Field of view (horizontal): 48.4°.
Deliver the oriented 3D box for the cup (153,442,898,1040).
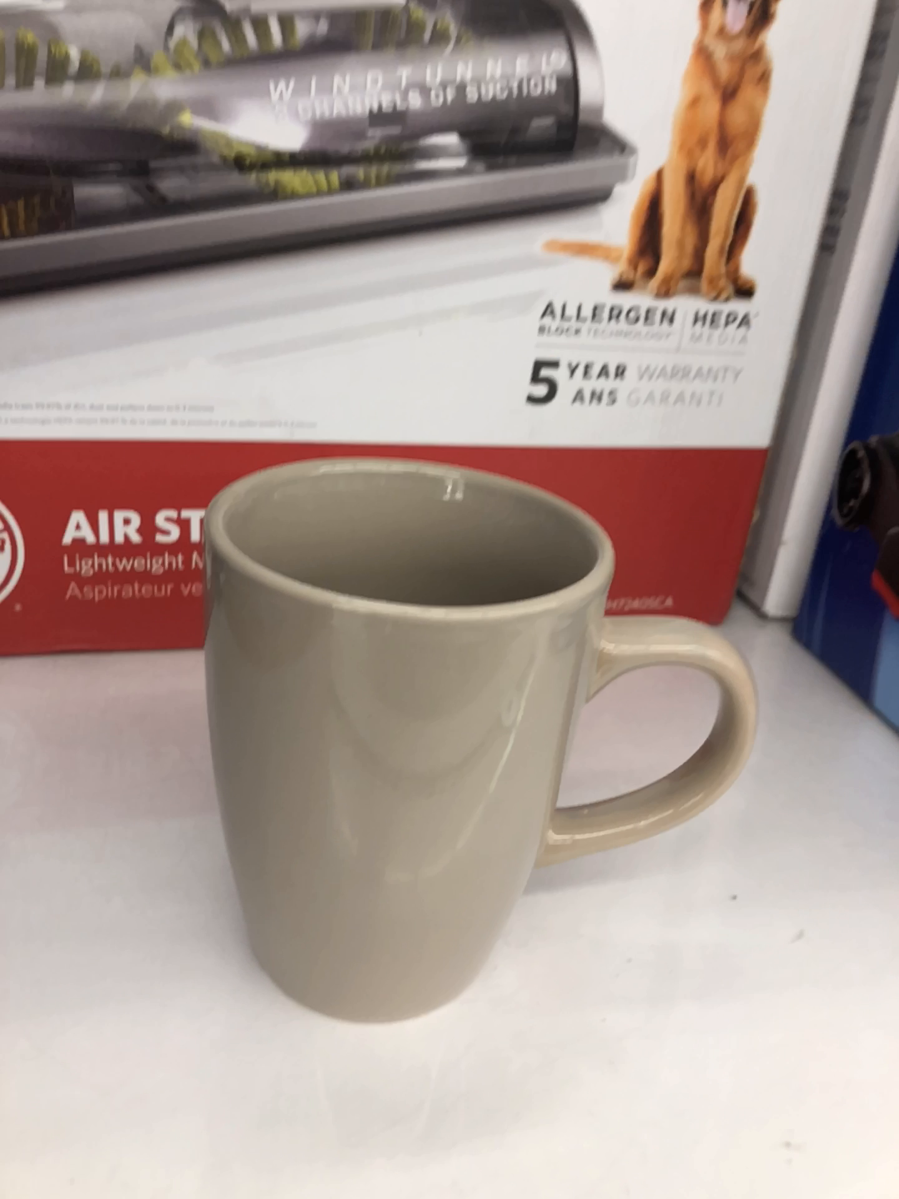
[{"bbox_3d":[0.006,0.027,0.223,0.125,0.092,0.088,3,26,-8],"label":"cup"}]
